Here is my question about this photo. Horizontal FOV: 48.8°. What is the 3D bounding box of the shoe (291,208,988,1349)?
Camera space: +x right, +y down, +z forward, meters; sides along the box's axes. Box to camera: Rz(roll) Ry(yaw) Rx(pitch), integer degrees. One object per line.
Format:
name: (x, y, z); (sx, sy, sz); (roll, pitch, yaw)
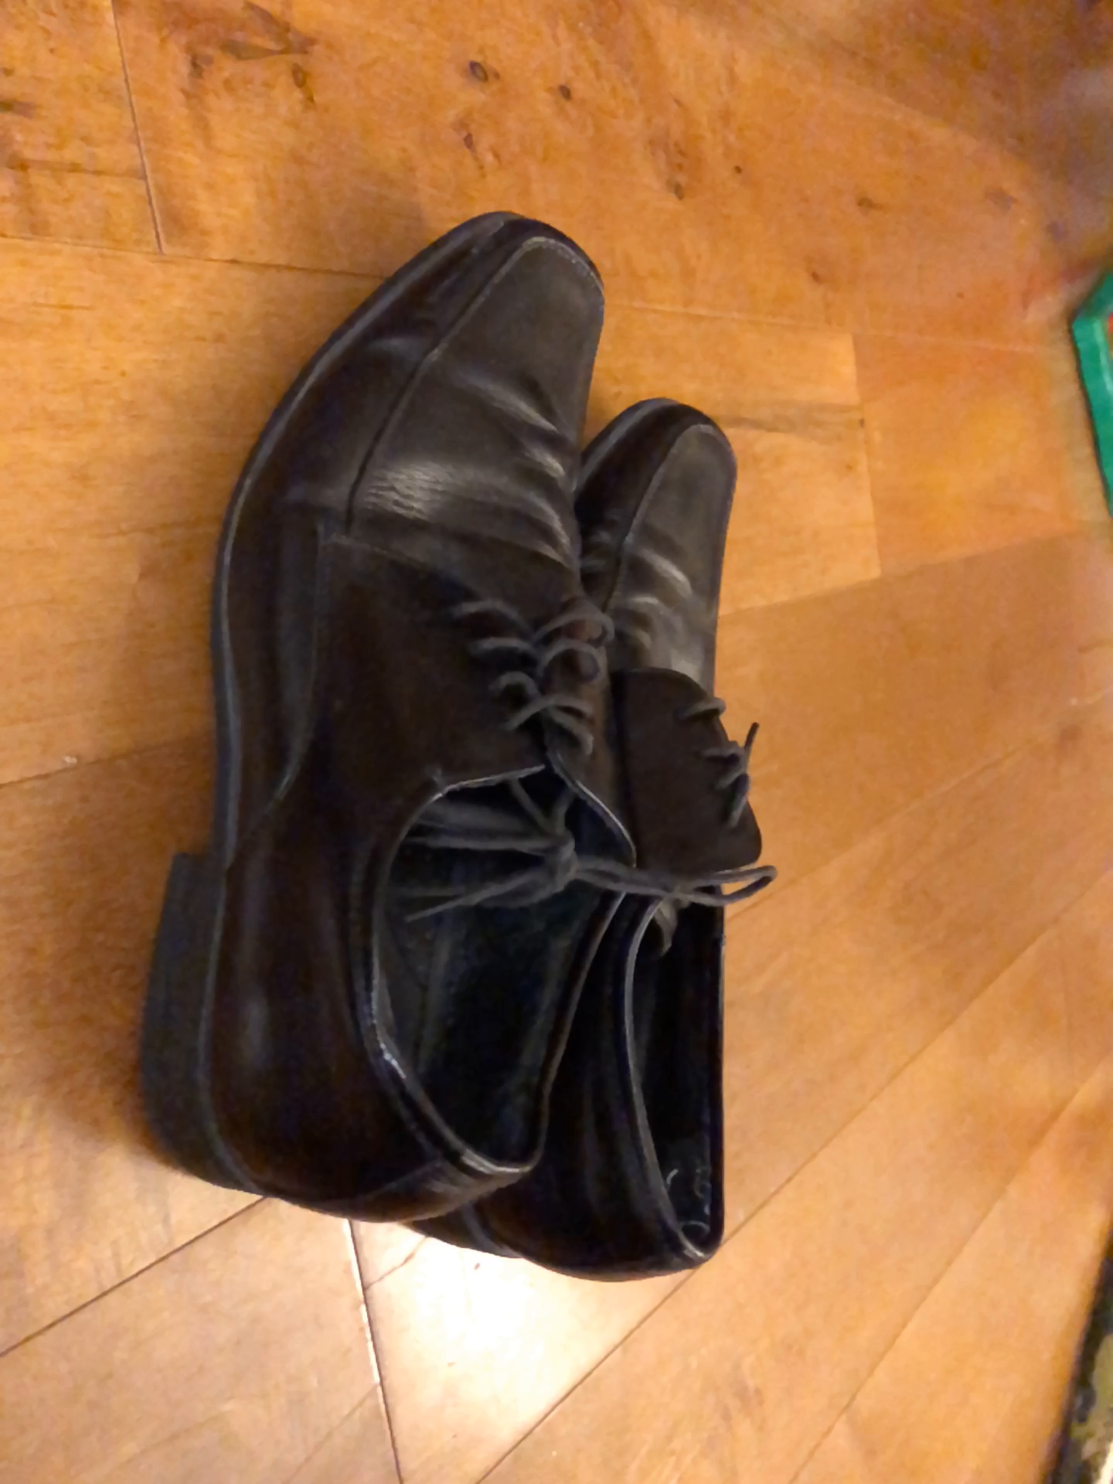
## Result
shoe: (0.039, 0.009, 0.395); (0.110, 0.129, 0.310); (31, 65, -44)

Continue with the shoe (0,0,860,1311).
shoe: (-0.024, -0.034, 0.326); (0.110, 0.129, 0.310); (31, 65, -44)
